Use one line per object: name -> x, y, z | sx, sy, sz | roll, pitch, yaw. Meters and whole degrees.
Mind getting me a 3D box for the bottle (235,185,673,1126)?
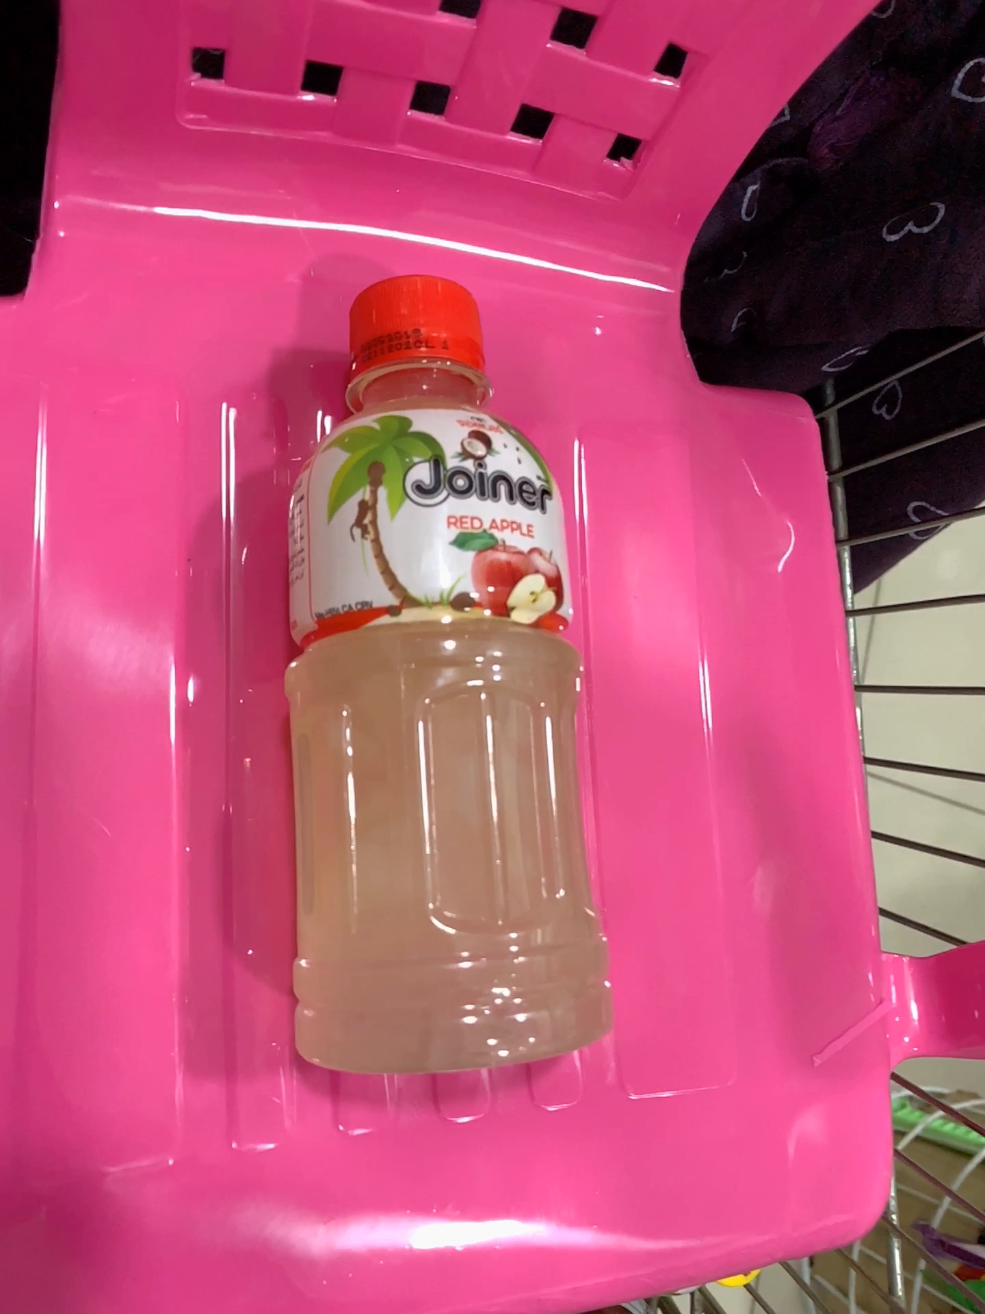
bottle -> -0.012, -0.002, 0.207 | 0.070, 0.050, 0.160 | 0, 82, -21
